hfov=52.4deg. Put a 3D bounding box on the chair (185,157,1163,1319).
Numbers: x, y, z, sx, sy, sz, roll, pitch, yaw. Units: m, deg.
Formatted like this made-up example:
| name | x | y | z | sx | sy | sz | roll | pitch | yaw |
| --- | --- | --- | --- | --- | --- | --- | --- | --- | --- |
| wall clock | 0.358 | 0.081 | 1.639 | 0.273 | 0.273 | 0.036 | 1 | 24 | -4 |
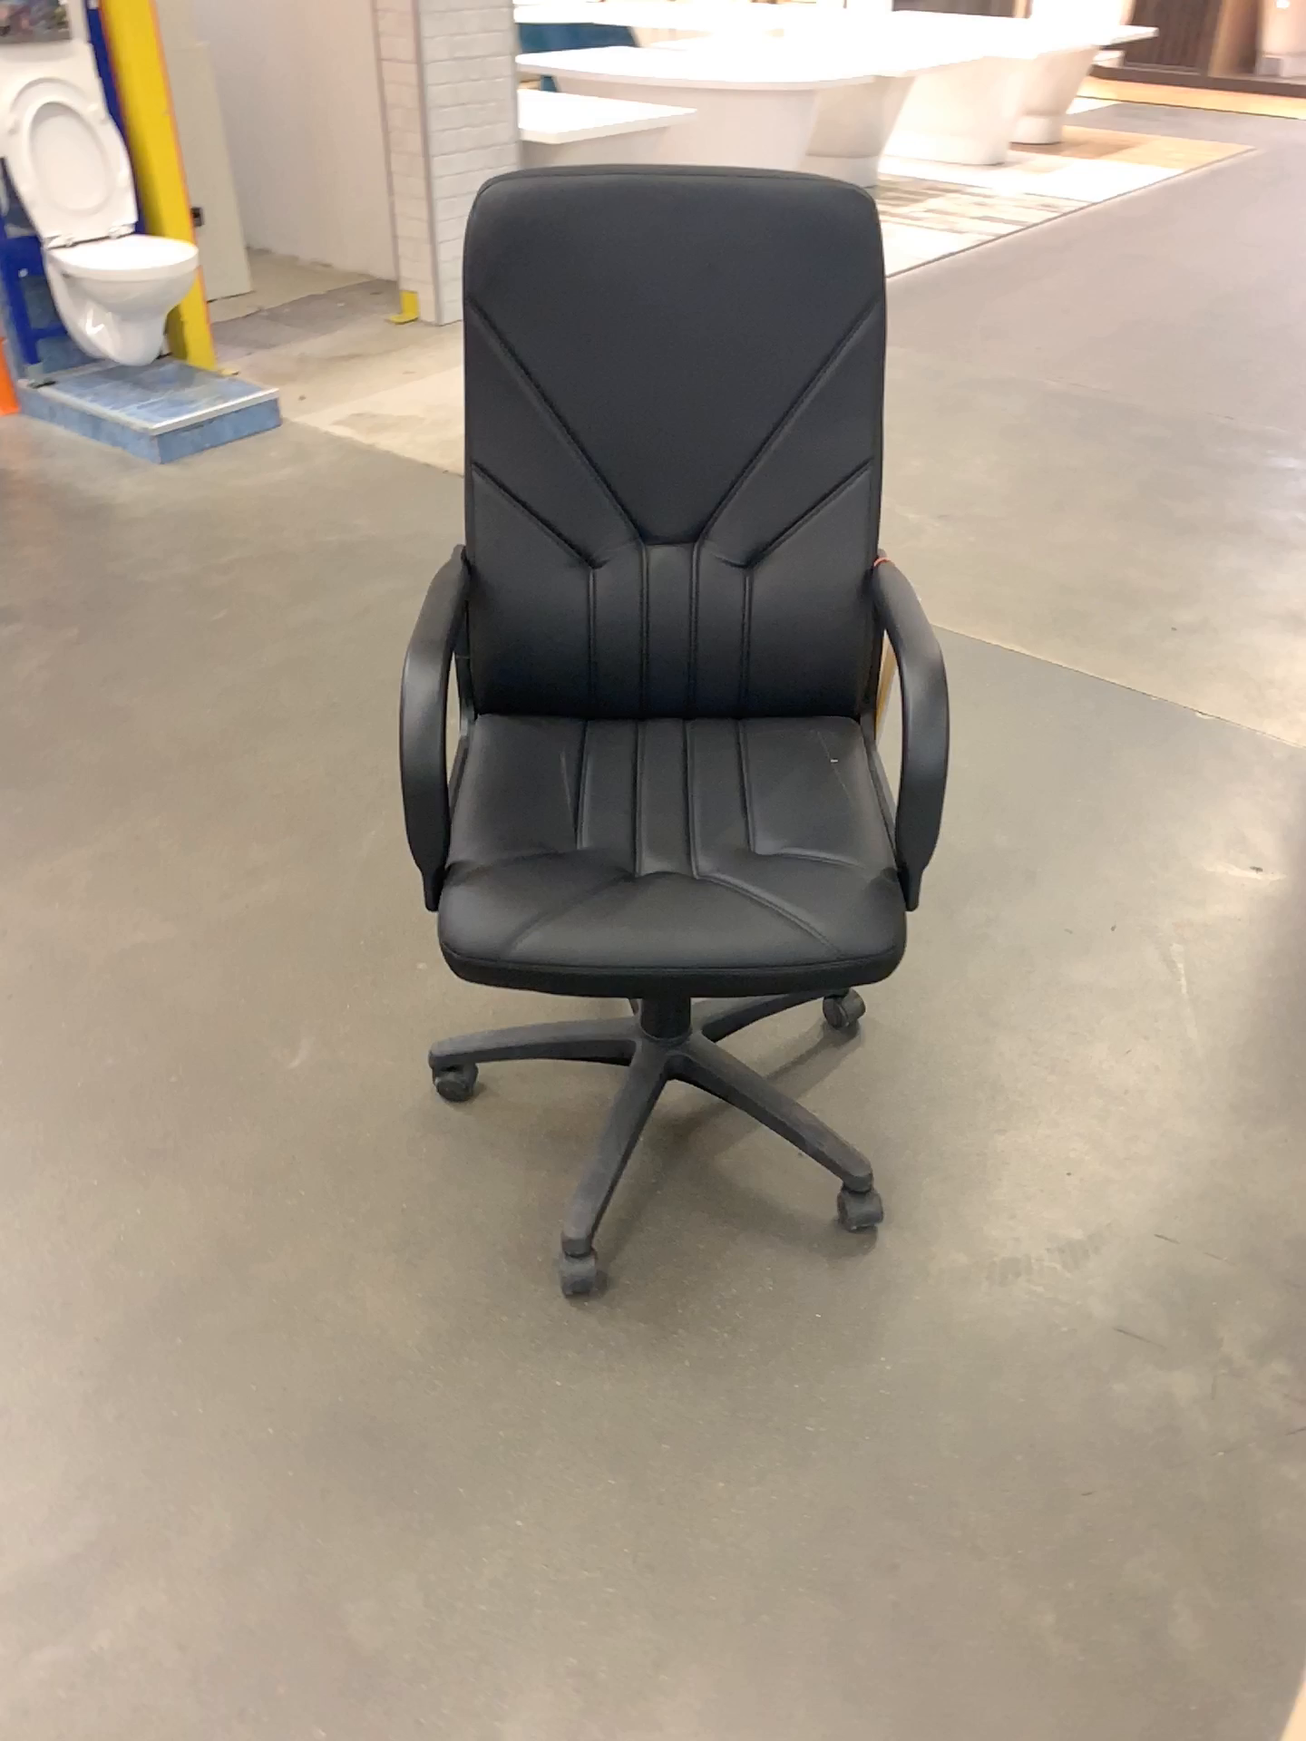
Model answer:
| name | x | y | z | sx | sy | sz | roll | pitch | yaw |
| --- | --- | --- | --- | --- | --- | --- | --- | --- | --- |
| chair | 0.008 | -0.159 | 1.556 | 0.670 | 1.085 | 0.814 | 0 | 36 | 0 |
